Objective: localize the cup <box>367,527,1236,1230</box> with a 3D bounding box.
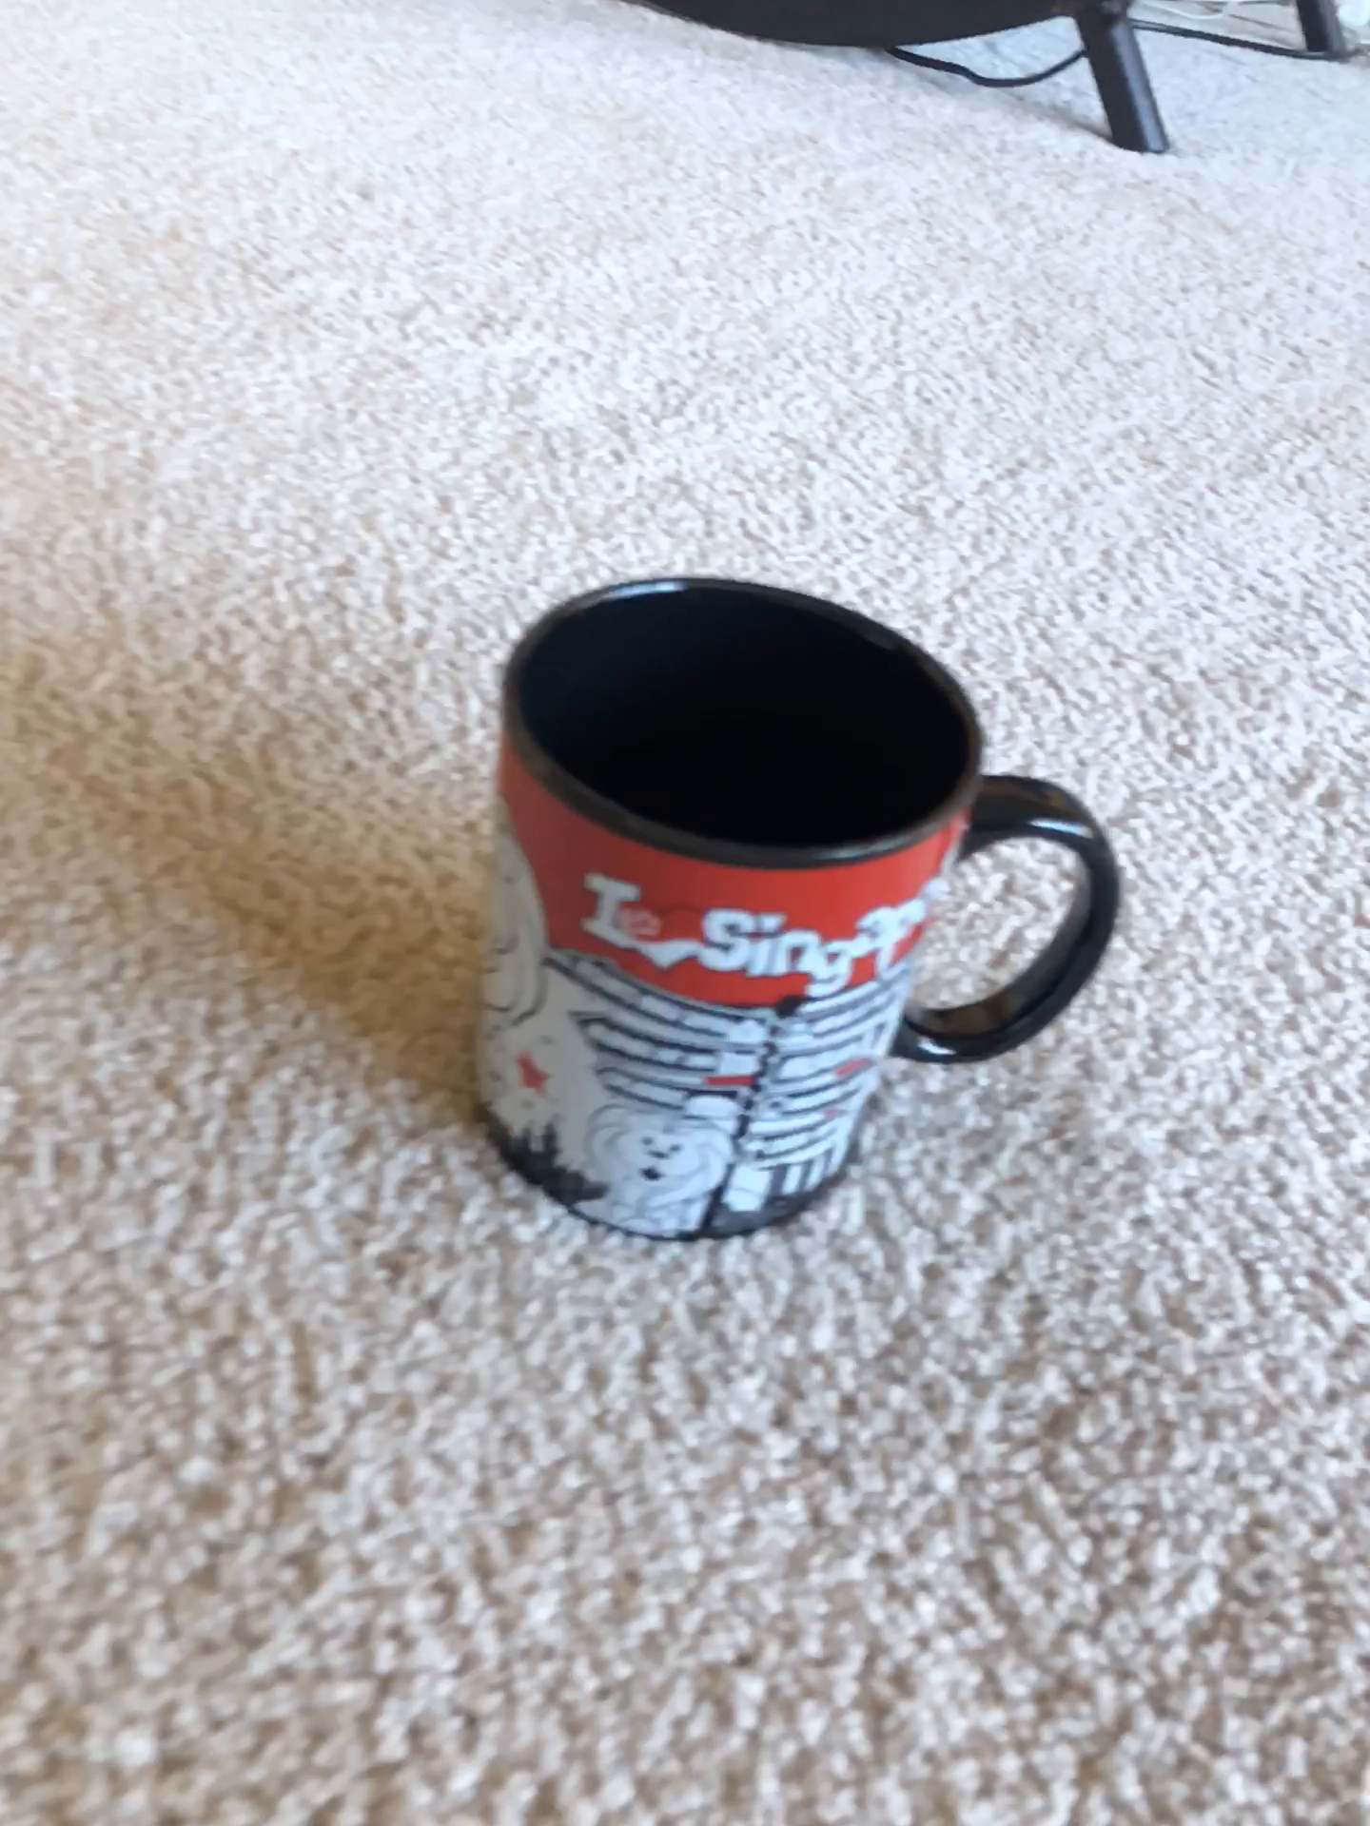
[{"bbox_3d":[0.011,-0.006,0.284,0.130,0.089,0.090,2,40,-8],"label":"cup"}]
